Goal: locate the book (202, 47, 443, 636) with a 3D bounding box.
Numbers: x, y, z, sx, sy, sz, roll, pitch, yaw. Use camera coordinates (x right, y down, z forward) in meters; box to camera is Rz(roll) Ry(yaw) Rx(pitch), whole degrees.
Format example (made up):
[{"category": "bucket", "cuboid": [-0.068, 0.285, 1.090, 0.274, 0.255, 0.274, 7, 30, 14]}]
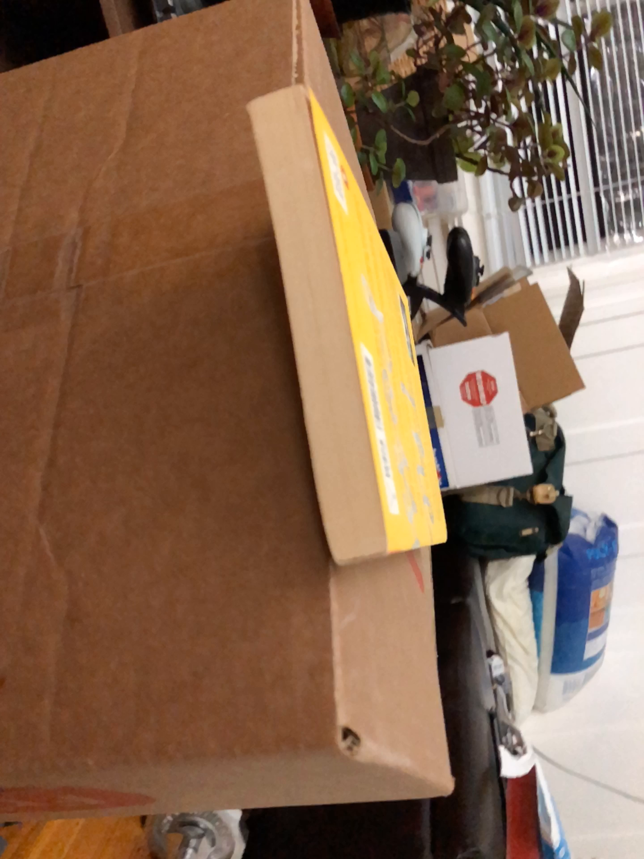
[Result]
[{"category": "book", "cuboid": [0.015, -0.013, 0.279, 0.211, 0.020, 0.150, 27, 54, -73]}]
